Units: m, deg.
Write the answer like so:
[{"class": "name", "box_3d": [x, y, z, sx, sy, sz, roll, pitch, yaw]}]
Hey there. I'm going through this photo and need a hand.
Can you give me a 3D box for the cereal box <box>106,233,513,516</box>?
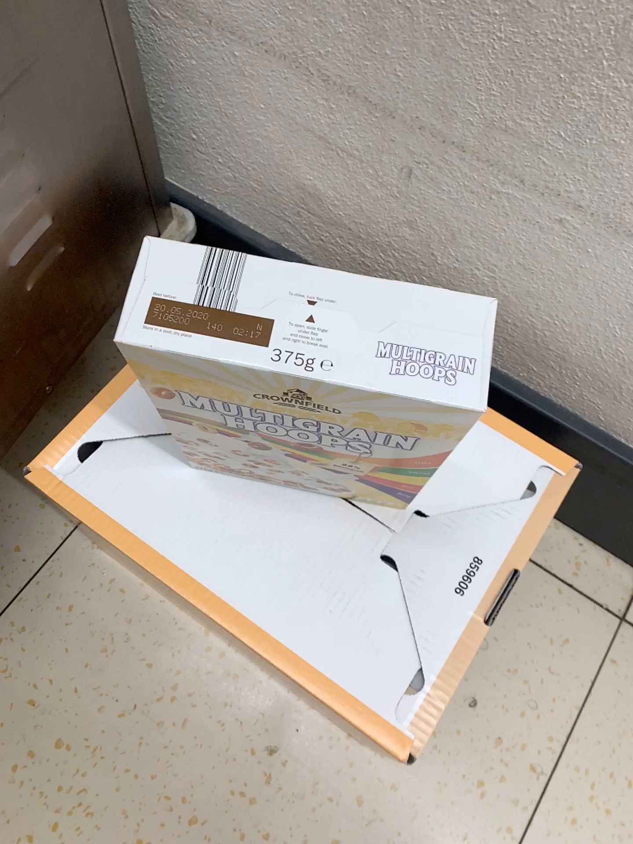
[{"class": "cereal box", "box_3d": [-0.005, -0.011, 0.452, 0.200, 0.249, 0.070, 11, 71, 2]}]
